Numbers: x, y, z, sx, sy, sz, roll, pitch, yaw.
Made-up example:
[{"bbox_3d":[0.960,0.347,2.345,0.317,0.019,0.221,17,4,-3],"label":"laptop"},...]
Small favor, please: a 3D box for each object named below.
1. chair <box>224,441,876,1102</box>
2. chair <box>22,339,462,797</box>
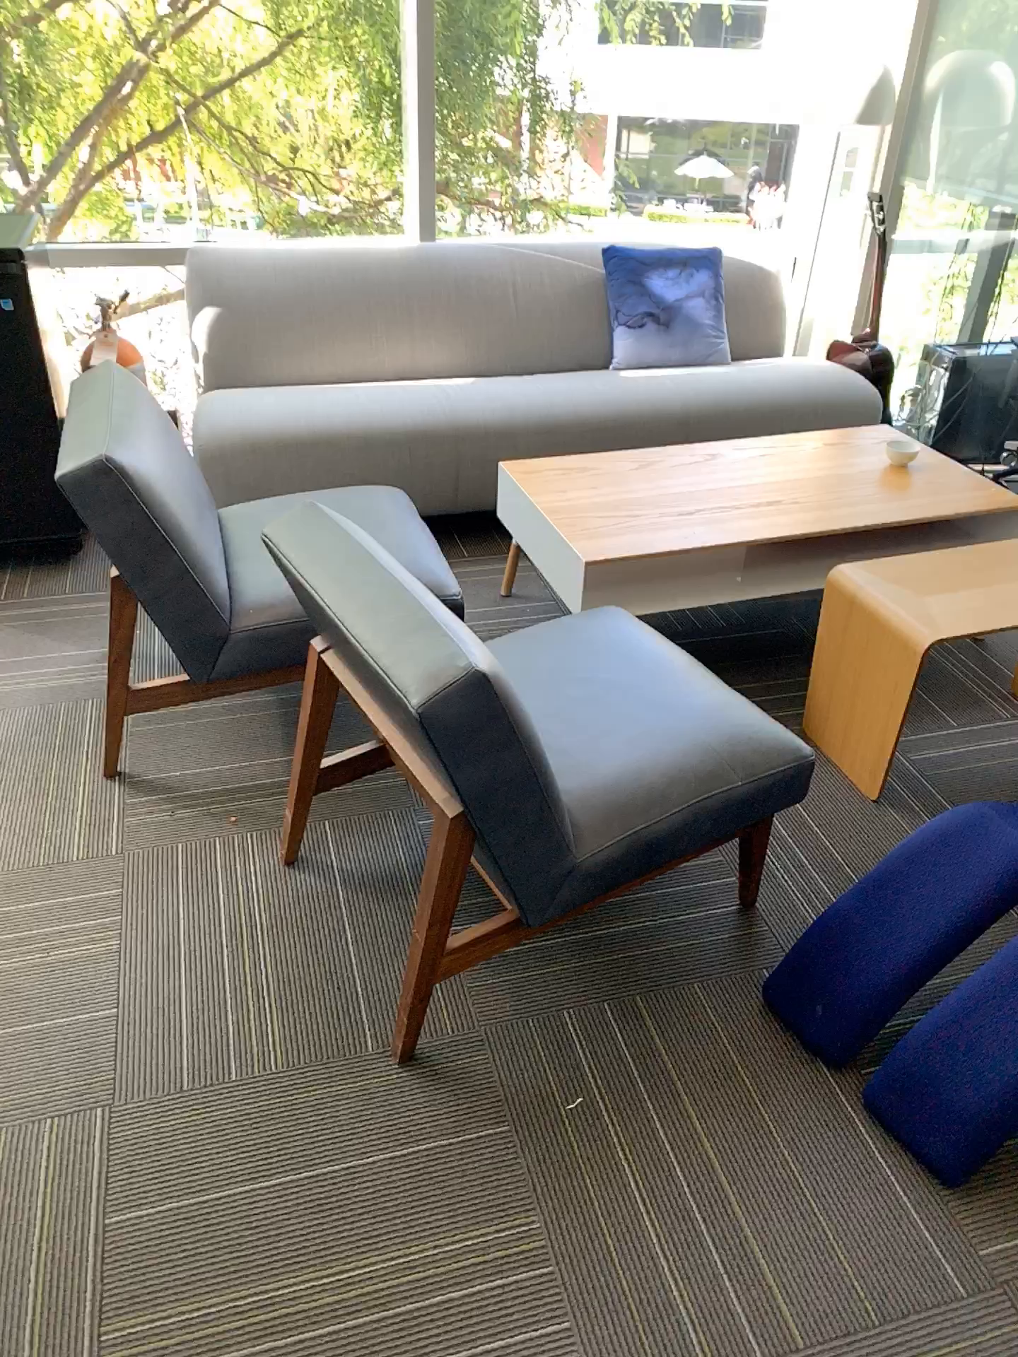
[{"bbox_3d":[0.037,0.099,1.926,0.851,0.765,0.683,-16,37,-27],"label":"chair"},{"bbox_3d":[-0.639,-0.320,2.536,0.850,0.765,0.744,-10,34,-18],"label":"chair"}]
